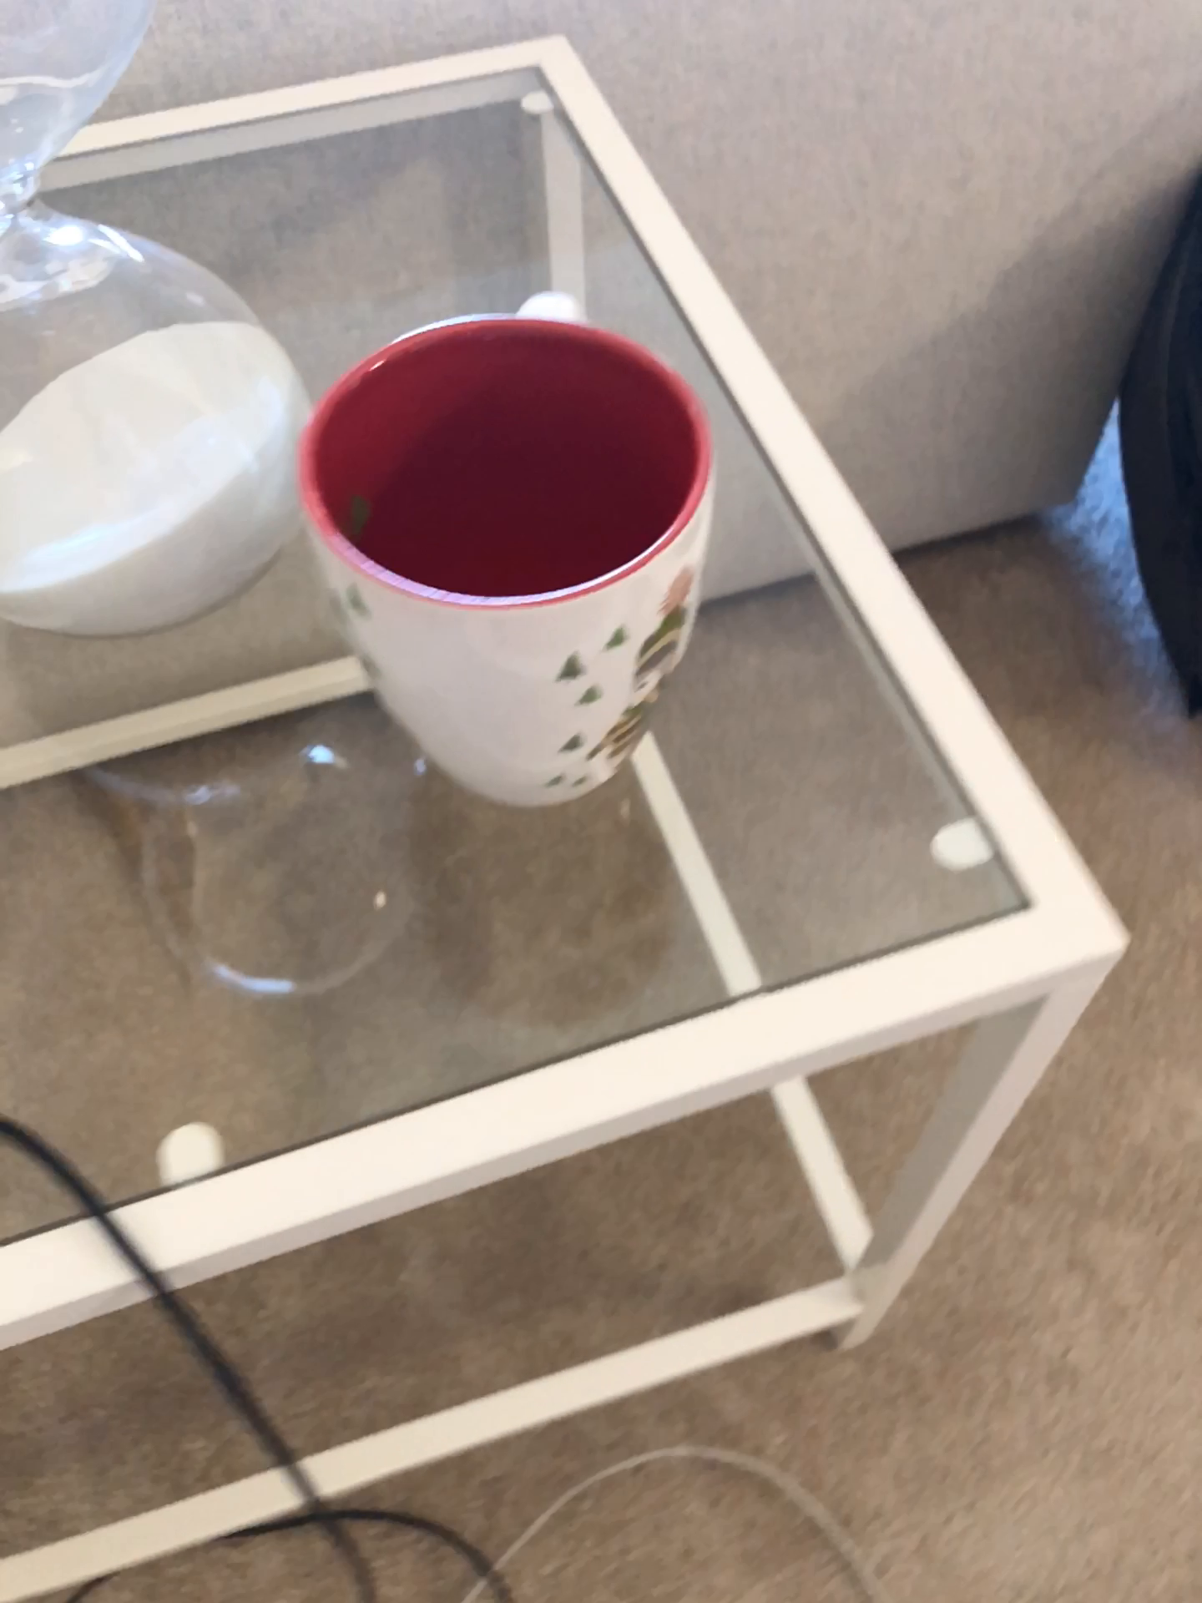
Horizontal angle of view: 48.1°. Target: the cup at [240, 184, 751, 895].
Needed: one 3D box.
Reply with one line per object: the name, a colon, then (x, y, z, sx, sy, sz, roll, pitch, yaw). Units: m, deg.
cup: (-0.017, -0.071, 0.366, 0.100, 0.110, 0.150, 5, 57, 4)
